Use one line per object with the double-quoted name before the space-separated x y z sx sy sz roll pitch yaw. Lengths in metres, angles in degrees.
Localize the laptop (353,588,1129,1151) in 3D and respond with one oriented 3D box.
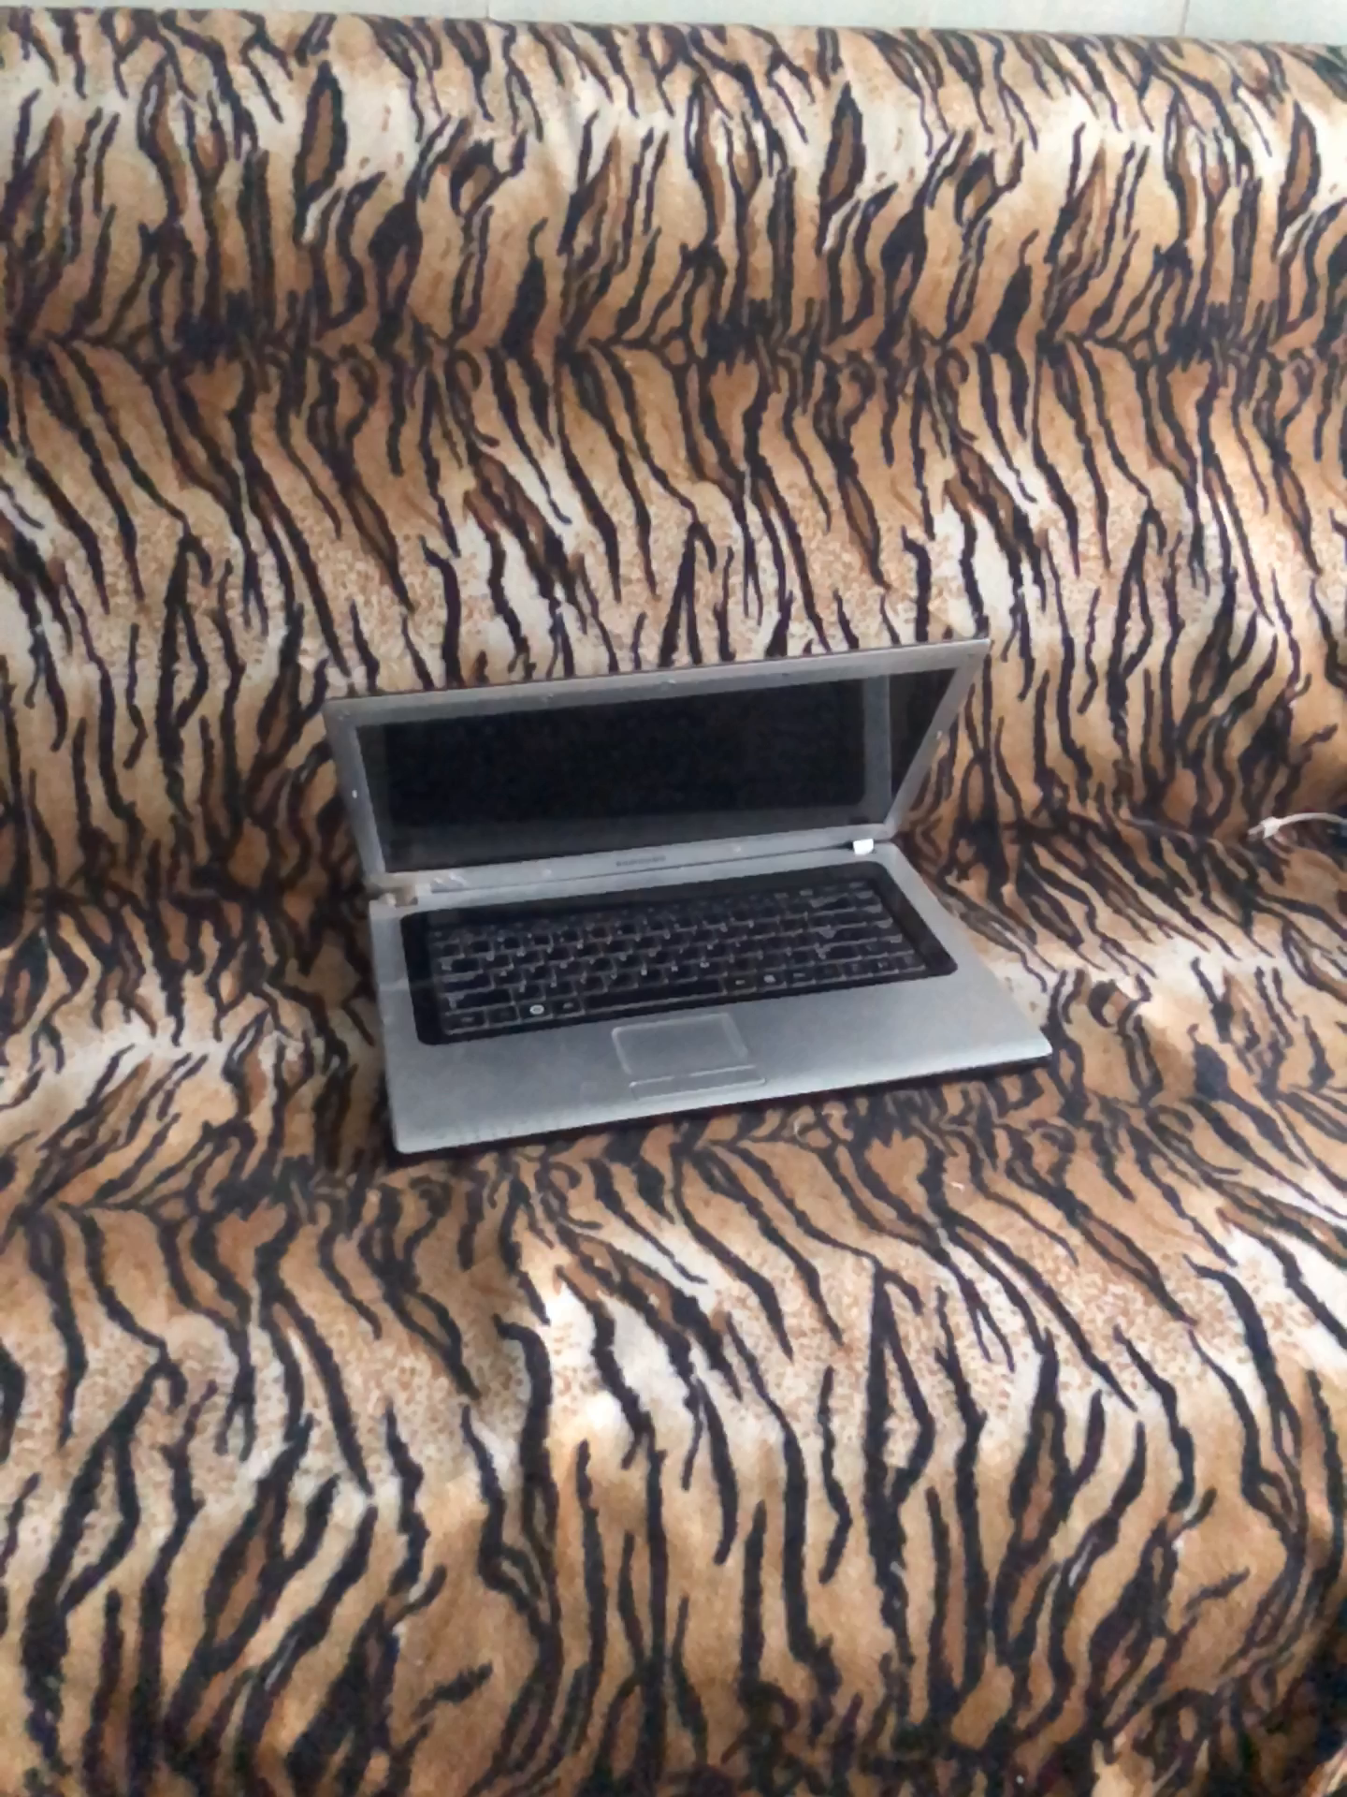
"laptop" 0.014 -0.033 0.816 0.350 0.179 0.239 -6 33 -12
